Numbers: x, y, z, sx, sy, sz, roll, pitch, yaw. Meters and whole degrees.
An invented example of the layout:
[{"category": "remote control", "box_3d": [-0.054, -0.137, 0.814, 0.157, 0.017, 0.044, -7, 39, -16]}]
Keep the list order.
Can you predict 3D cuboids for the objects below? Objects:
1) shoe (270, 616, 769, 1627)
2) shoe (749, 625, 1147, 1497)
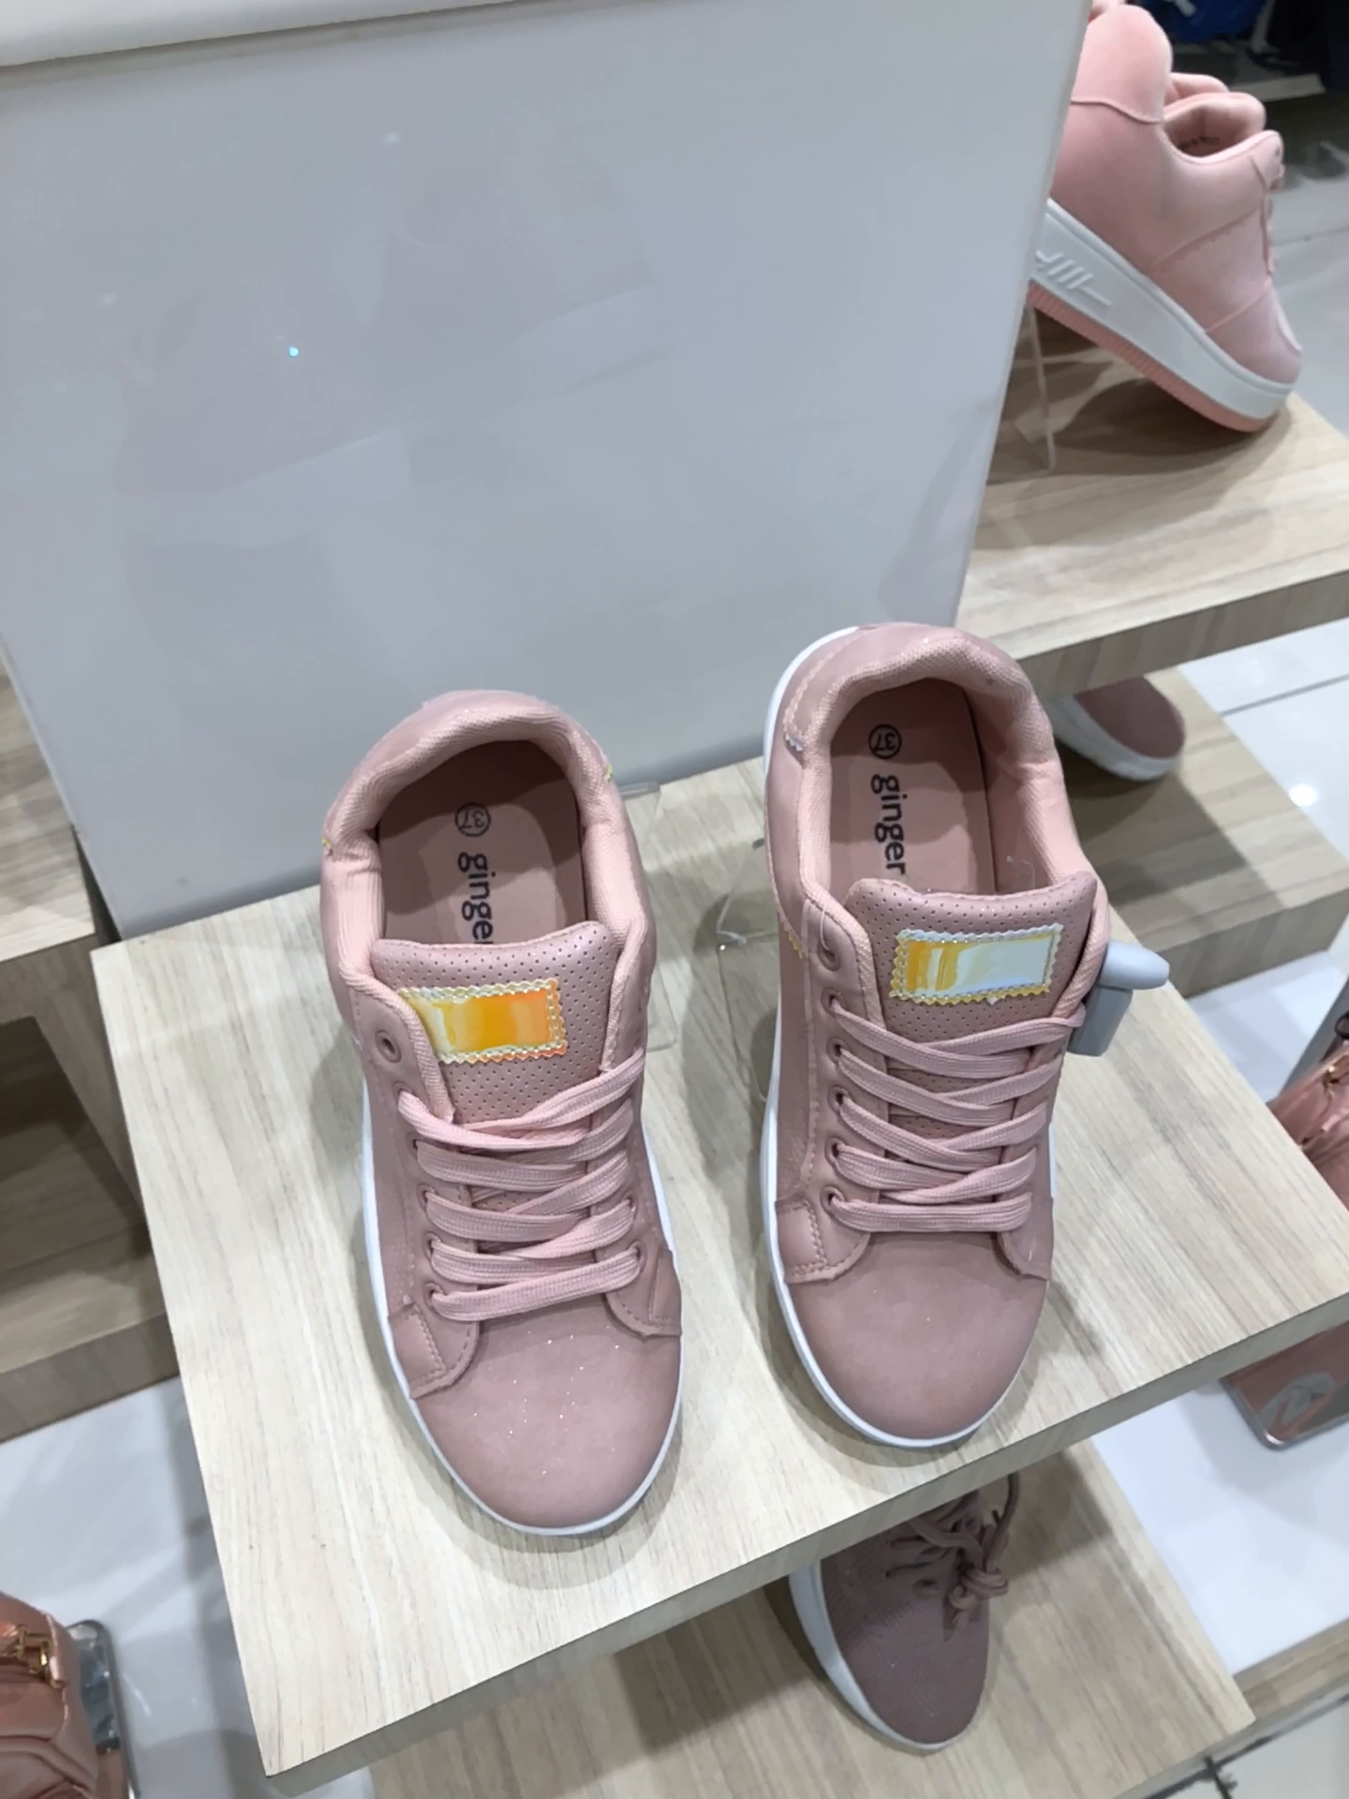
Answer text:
[{"category": "shoe", "box_3d": [-0.045, 0.058, 0.451, 0.100, 0.100, 0.260, -8, 91, -6]}, {"category": "shoe", "box_3d": [0.080, 0.043, 0.472, 0.100, 0.250, 0.100, -2, 8, -2]}]
